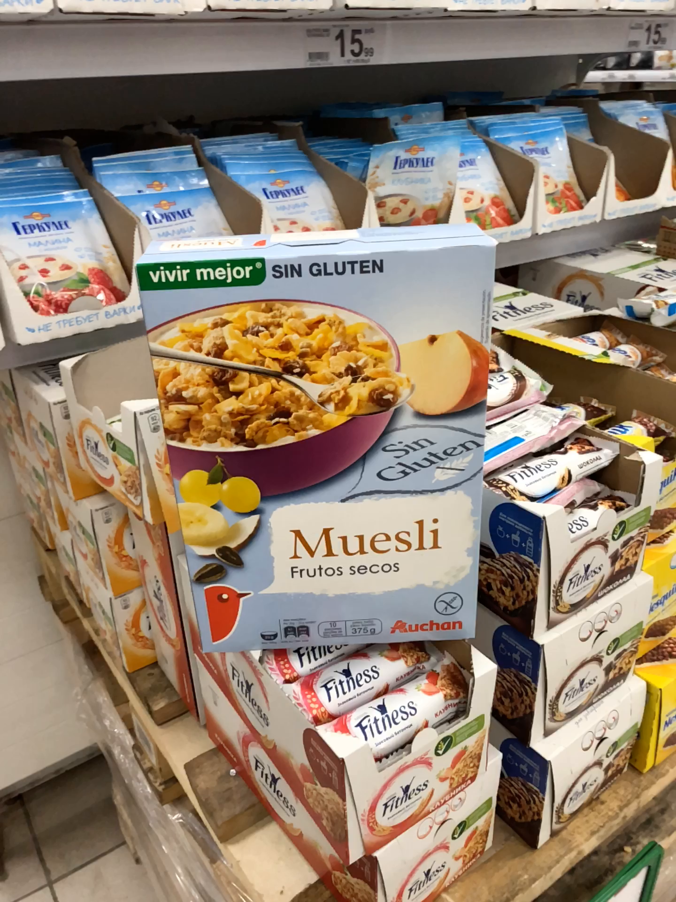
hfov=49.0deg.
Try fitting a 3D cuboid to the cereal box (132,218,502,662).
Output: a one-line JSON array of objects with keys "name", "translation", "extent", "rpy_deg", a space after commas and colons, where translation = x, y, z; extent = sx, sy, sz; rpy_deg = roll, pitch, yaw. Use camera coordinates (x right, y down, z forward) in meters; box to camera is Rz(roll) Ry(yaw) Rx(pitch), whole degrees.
[{"name": "cereal box", "translation": [-0.007, 0.004, 0.493], "extent": [0.200, 0.288, 0.060], "rpy_deg": [-3, 27, -1]}]
